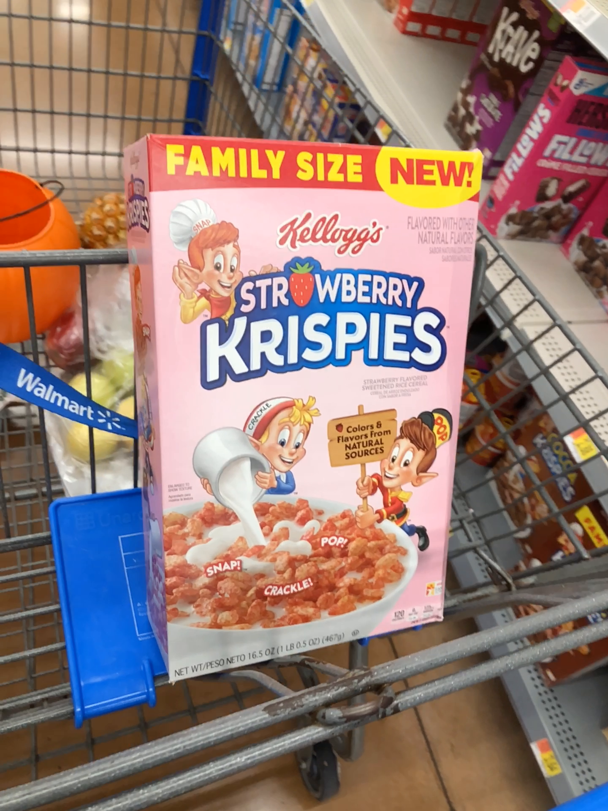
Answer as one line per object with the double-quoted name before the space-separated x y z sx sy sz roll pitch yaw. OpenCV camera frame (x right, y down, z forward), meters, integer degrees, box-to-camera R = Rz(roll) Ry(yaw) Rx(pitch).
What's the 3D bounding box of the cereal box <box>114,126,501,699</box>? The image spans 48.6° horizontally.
"cereal box" 0.003 0.000 0.408 0.200 0.290 0.080 -6 14 -24
